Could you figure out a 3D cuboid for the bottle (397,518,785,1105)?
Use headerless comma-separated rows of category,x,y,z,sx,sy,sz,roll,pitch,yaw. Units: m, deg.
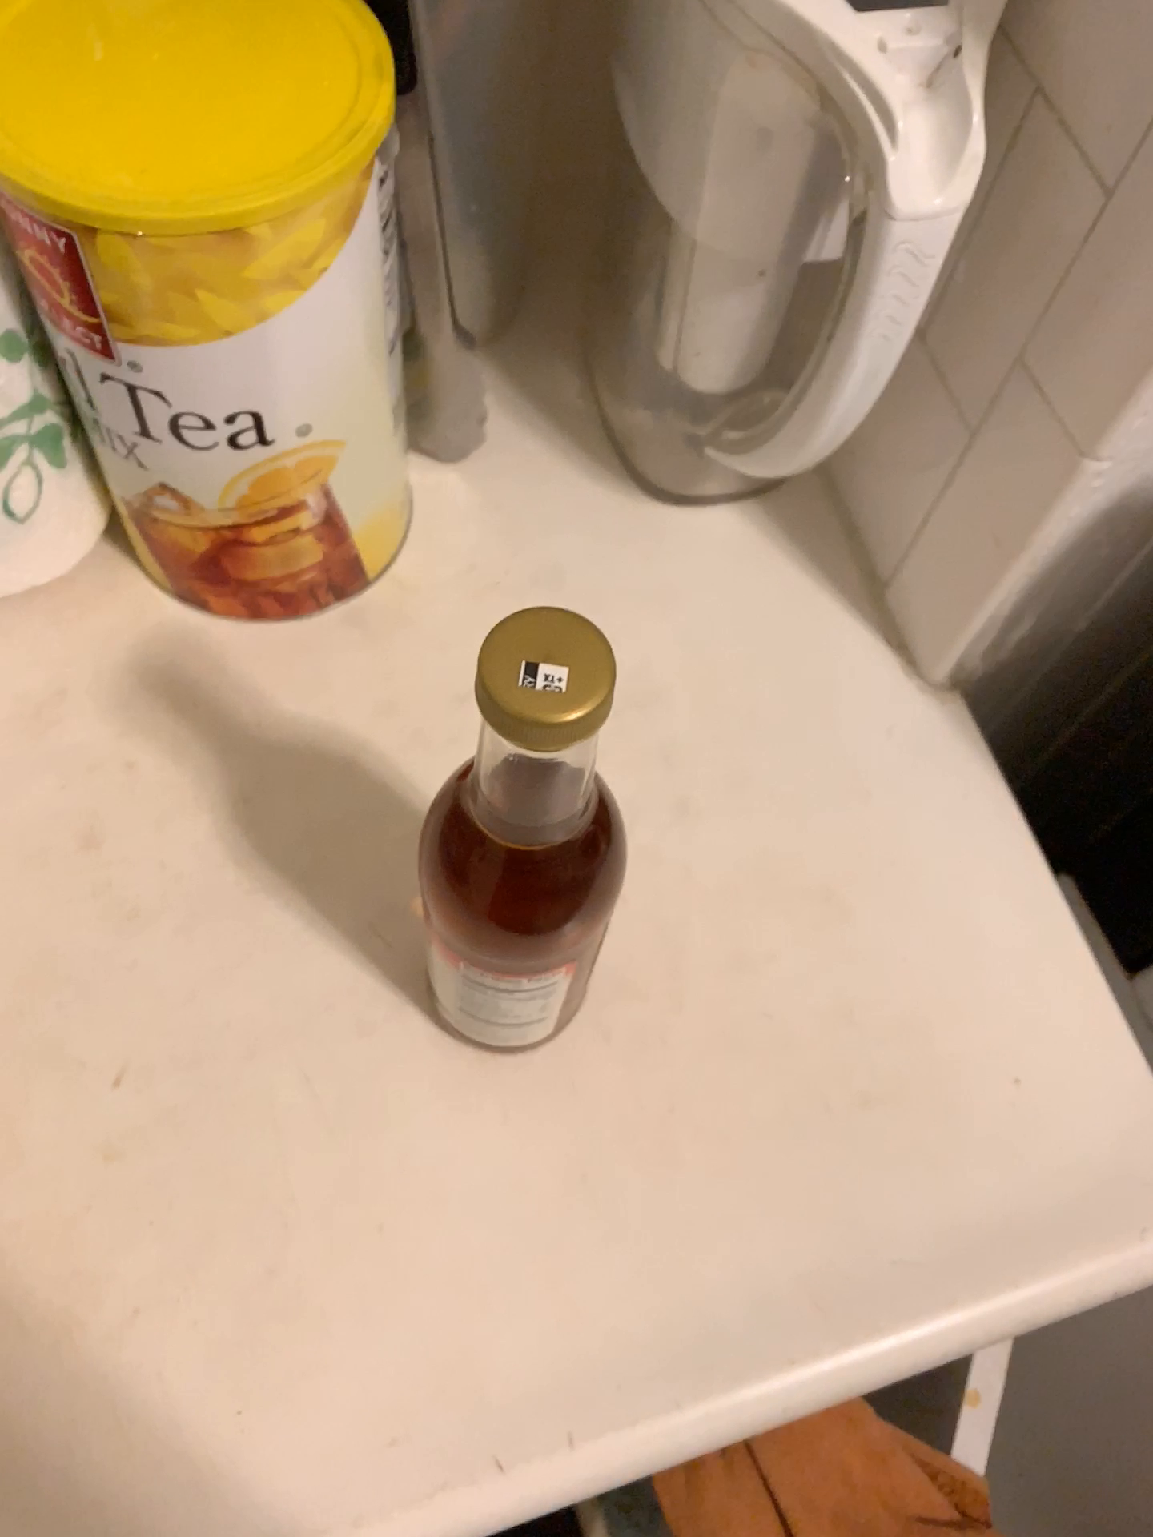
bottle,-0.007,0.035,0.356,0.070,0.239,0.070,3,64,-5
